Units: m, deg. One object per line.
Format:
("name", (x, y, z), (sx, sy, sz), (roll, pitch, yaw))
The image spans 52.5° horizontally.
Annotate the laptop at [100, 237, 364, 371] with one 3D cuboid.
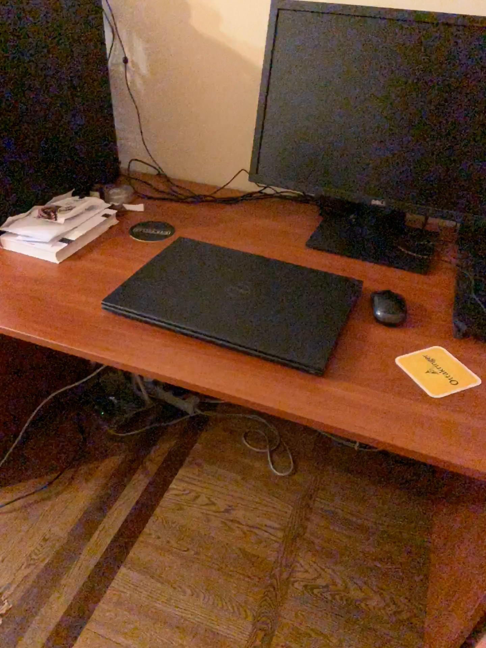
("laptop", (-0.007, -0.052, 0.811), (0.360, 0.002, 0.249), (17, 39, 17))
